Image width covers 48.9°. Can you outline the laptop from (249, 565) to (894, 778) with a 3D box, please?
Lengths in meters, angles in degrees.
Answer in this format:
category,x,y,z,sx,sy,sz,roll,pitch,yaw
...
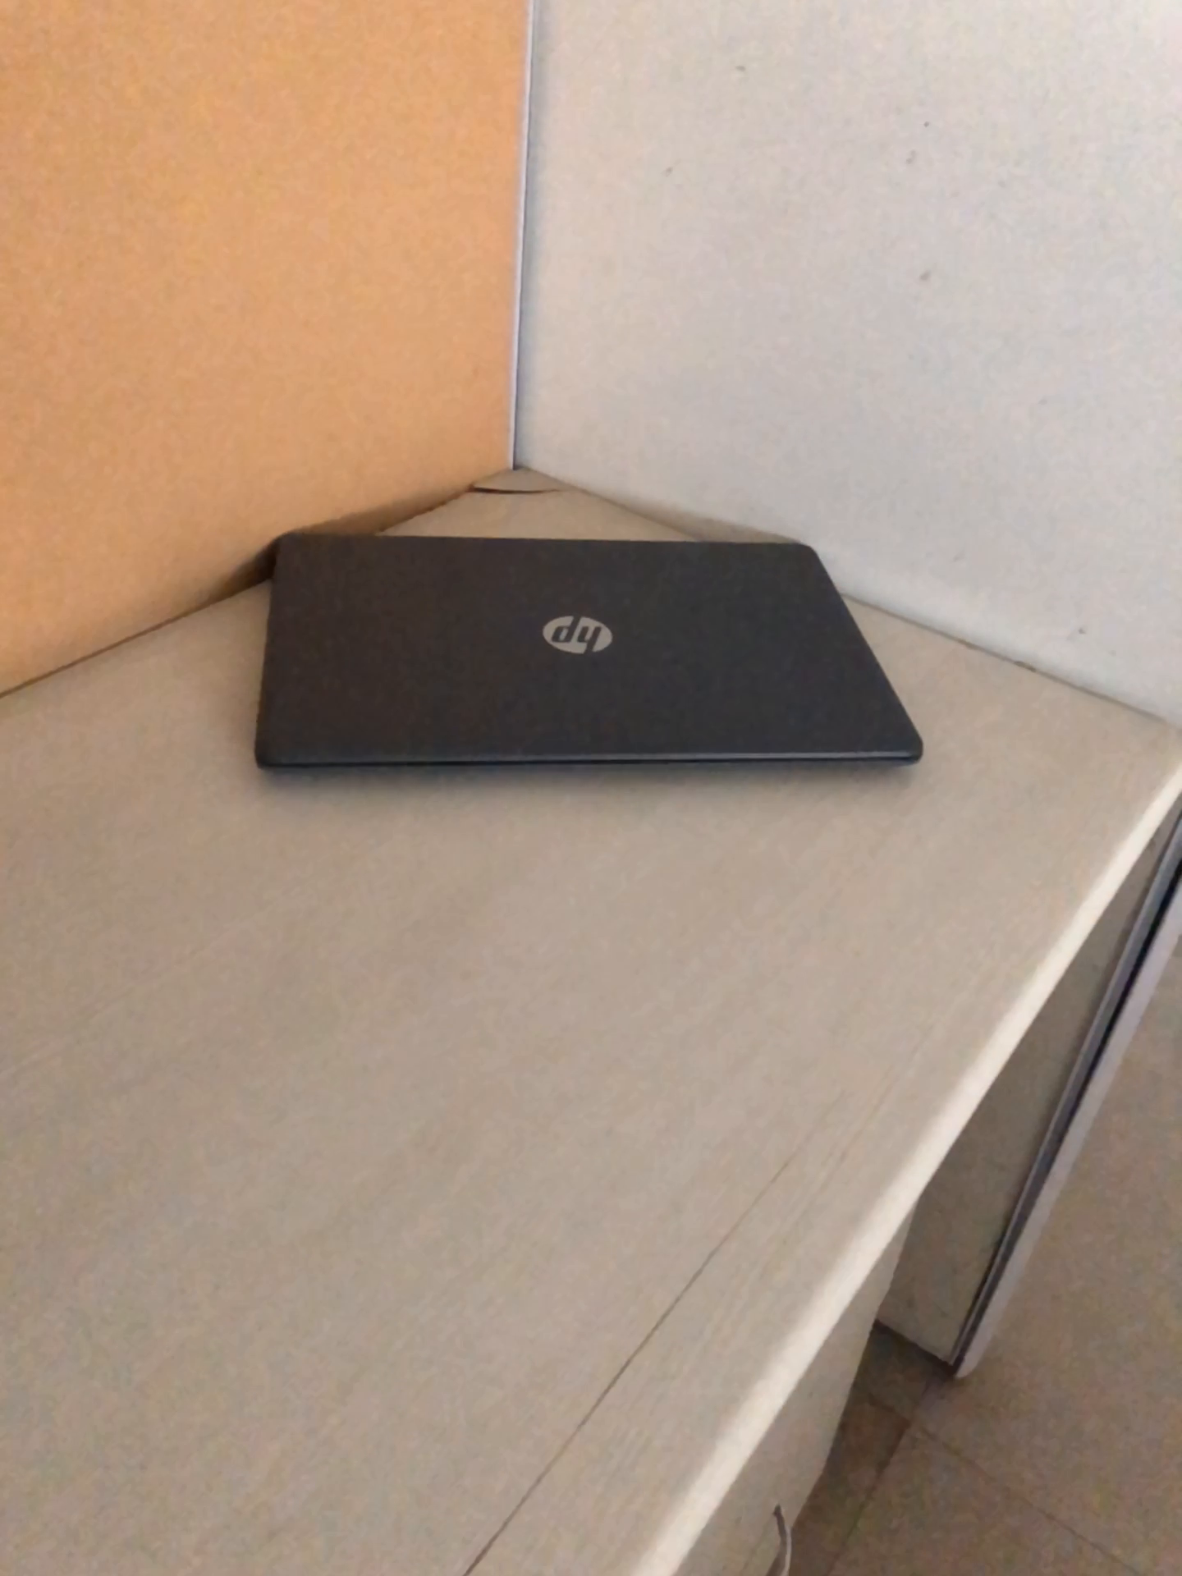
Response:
category,x,y,z,sx,sy,sz,roll,pitch,yaw
laptop,-0.018,-0.082,0.806,0.356,0.004,0.237,-1,37,-8
